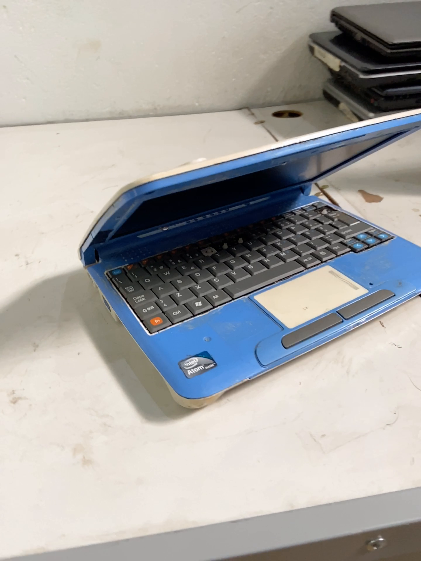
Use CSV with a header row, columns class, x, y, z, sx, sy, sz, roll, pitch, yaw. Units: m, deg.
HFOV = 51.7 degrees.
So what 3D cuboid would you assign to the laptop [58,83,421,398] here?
class,x,y,z,sx,sy,sz,roll,pitch,yaw
laptop,0.043,-0.060,0.337,0.247,0.116,0.182,-20,38,-22
